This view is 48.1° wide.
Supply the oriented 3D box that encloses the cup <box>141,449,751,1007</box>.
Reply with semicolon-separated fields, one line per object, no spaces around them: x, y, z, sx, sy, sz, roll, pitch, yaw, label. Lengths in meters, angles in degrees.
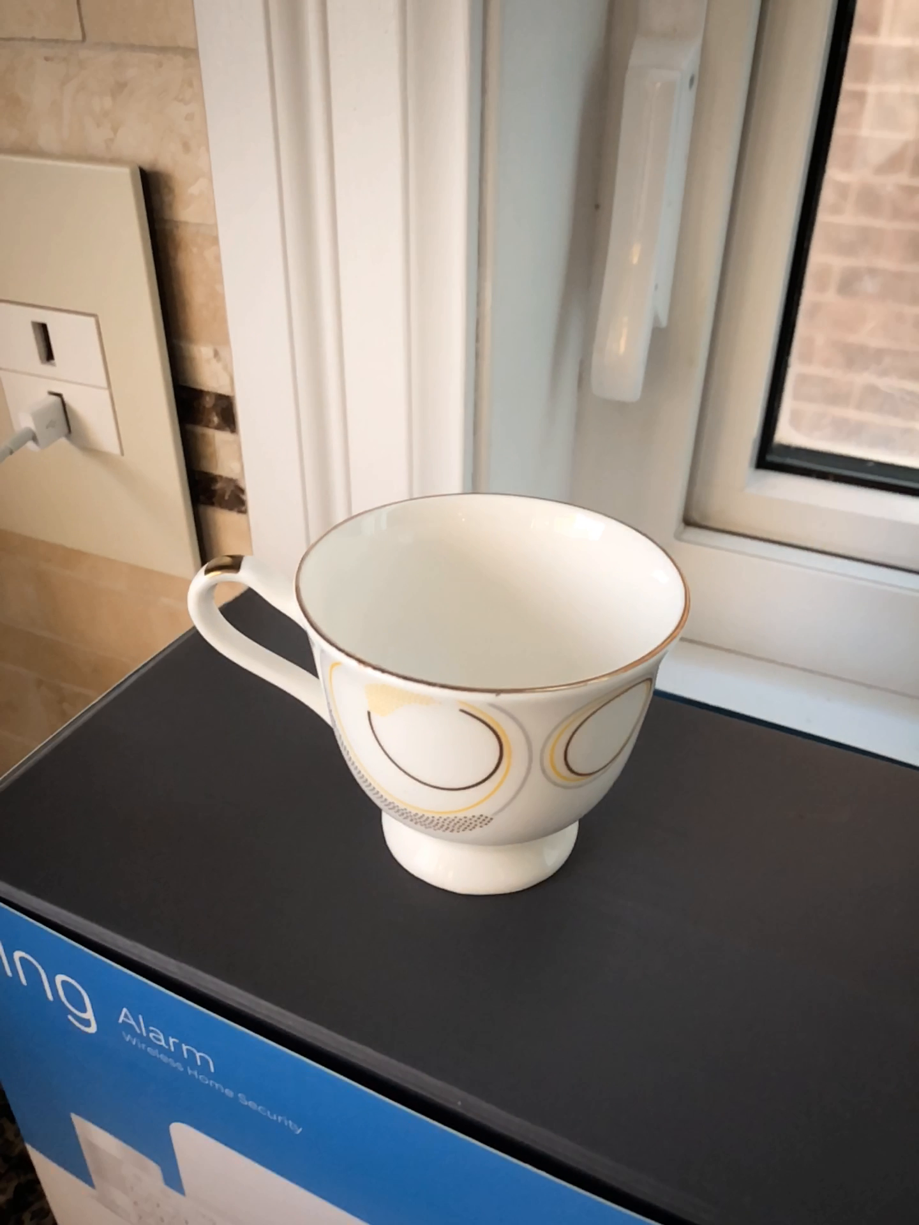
0.002;0.018;0.223;0.100;0.066;0.077;12;35;18;cup
